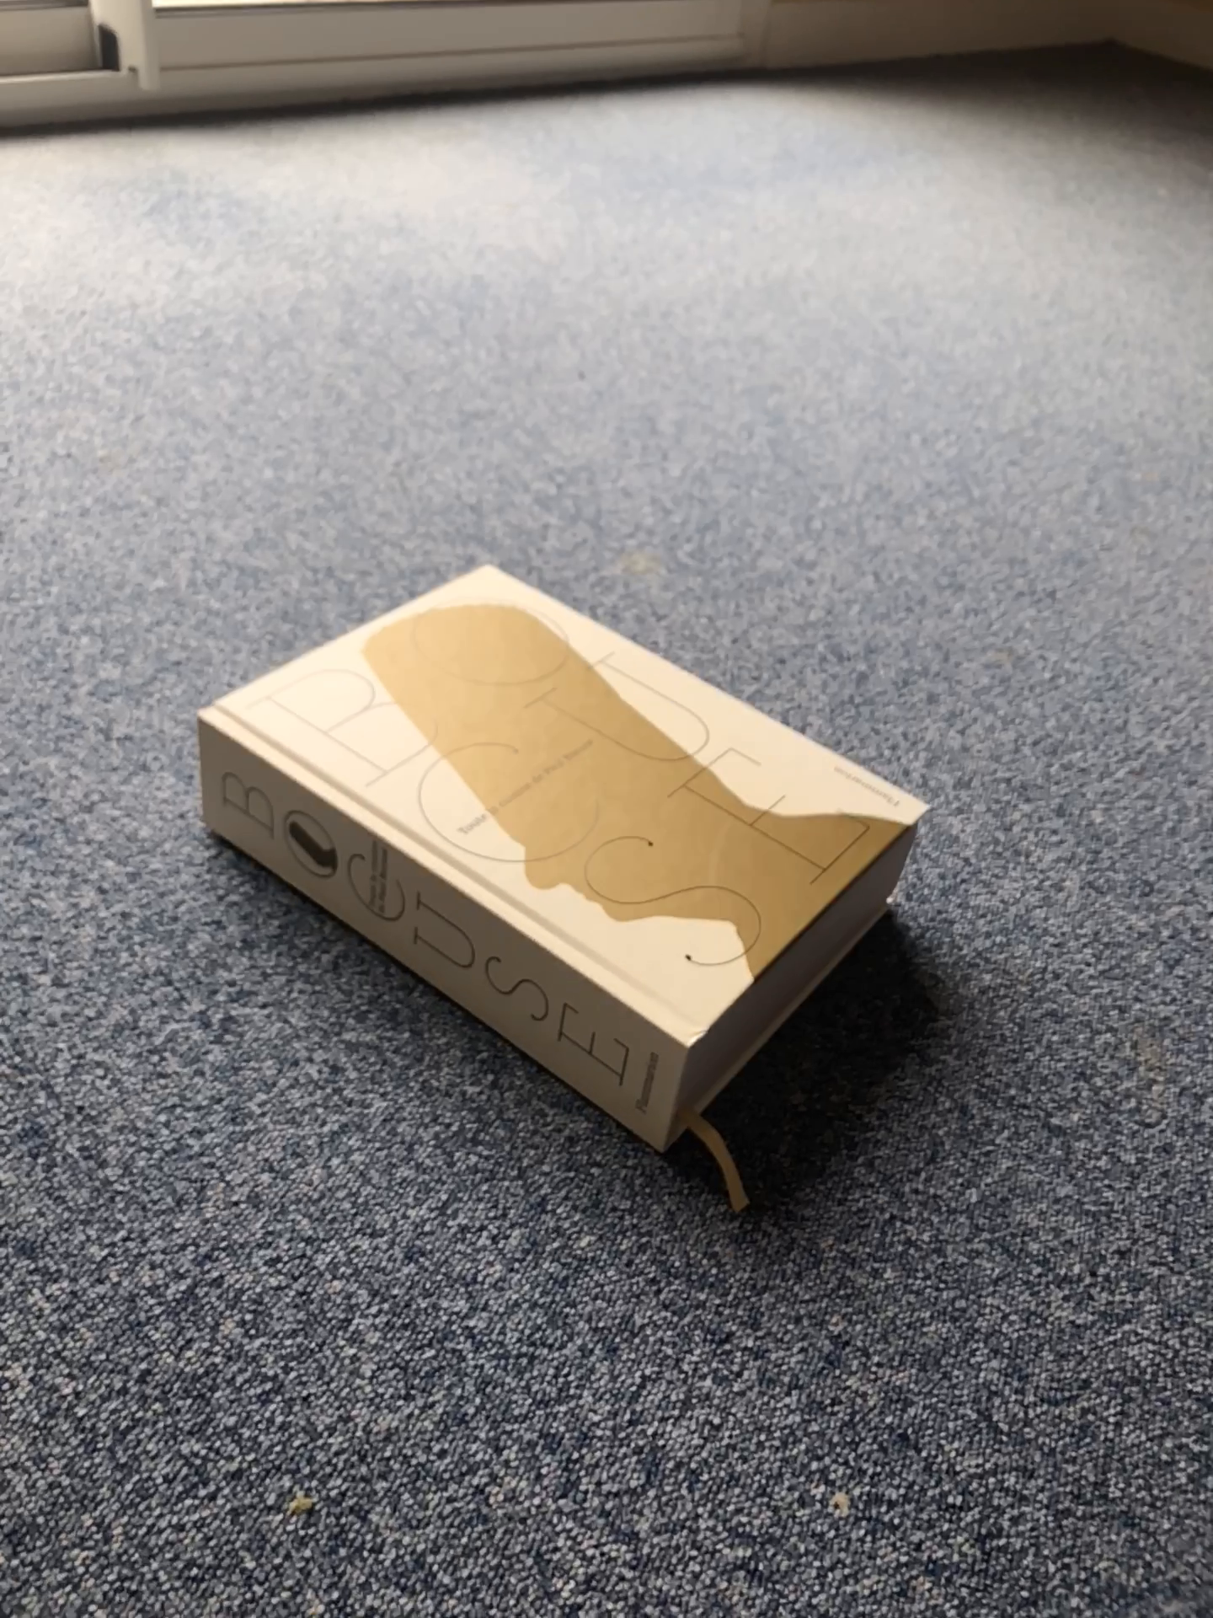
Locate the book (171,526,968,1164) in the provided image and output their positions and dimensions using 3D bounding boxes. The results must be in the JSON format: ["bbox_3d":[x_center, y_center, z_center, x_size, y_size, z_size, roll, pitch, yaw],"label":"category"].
[{"bbox_3d":[-0.018,-0.008,0.599,0.280,0.079,0.201,31,44,25],"label":"book"}]
